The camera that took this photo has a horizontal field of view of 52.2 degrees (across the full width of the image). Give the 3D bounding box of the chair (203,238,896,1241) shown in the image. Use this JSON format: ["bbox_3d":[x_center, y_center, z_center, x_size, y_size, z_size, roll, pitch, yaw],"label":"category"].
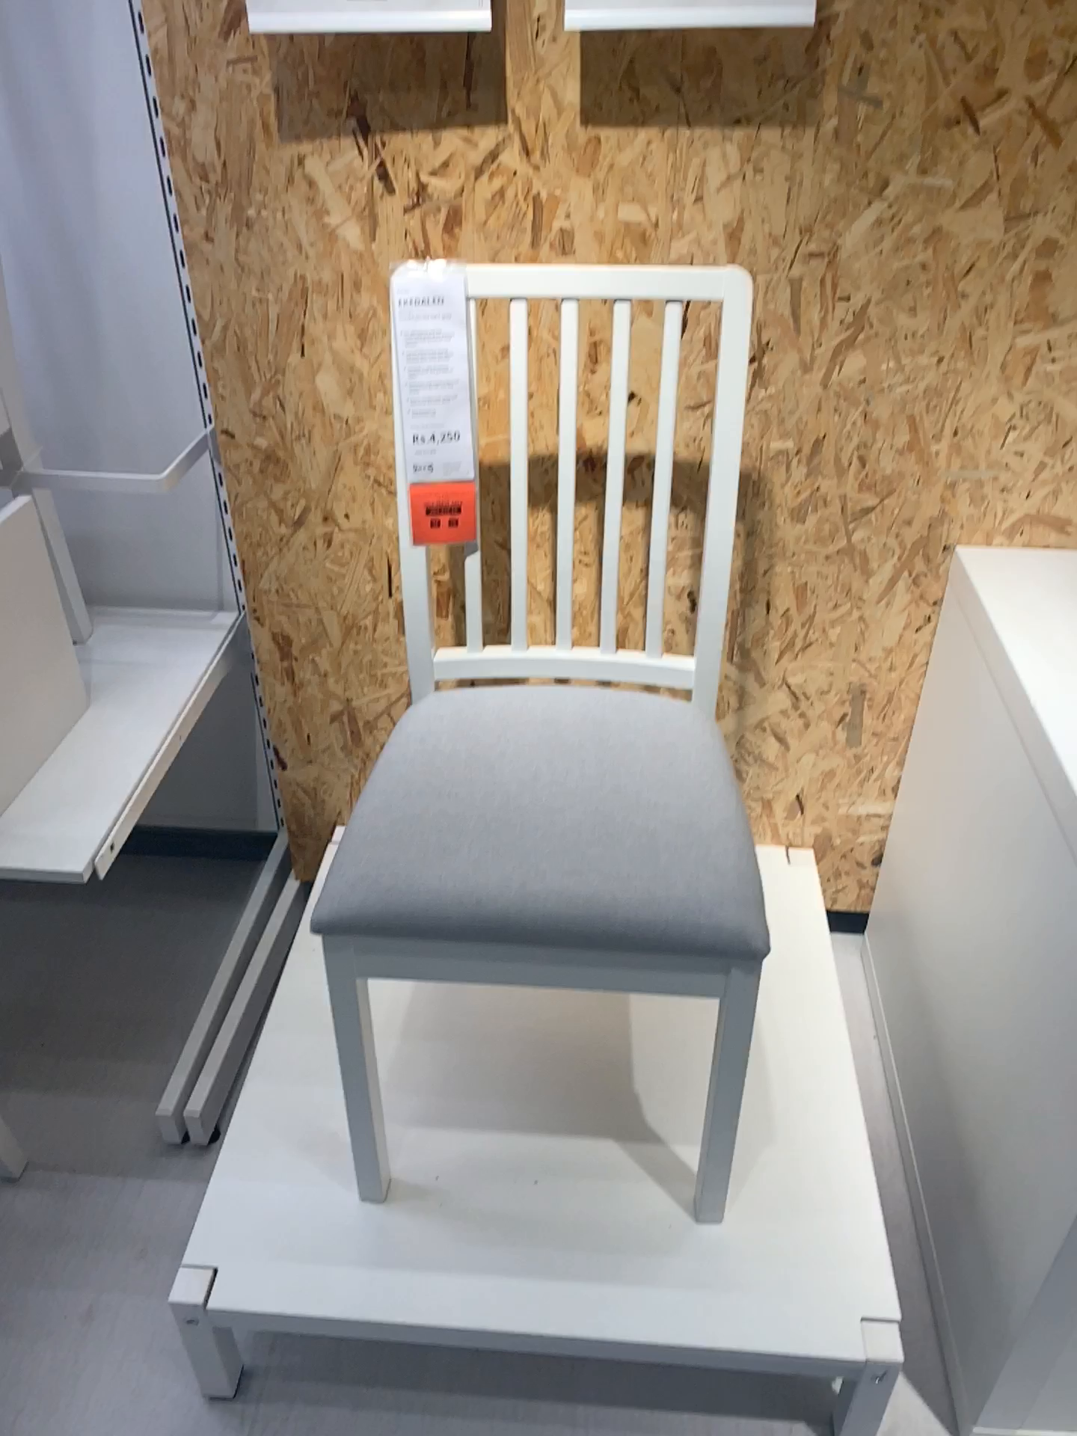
[{"bbox_3d":[0.025,0.049,1.186,0.450,0.956,0.492,2,35,4],"label":"chair"}]
